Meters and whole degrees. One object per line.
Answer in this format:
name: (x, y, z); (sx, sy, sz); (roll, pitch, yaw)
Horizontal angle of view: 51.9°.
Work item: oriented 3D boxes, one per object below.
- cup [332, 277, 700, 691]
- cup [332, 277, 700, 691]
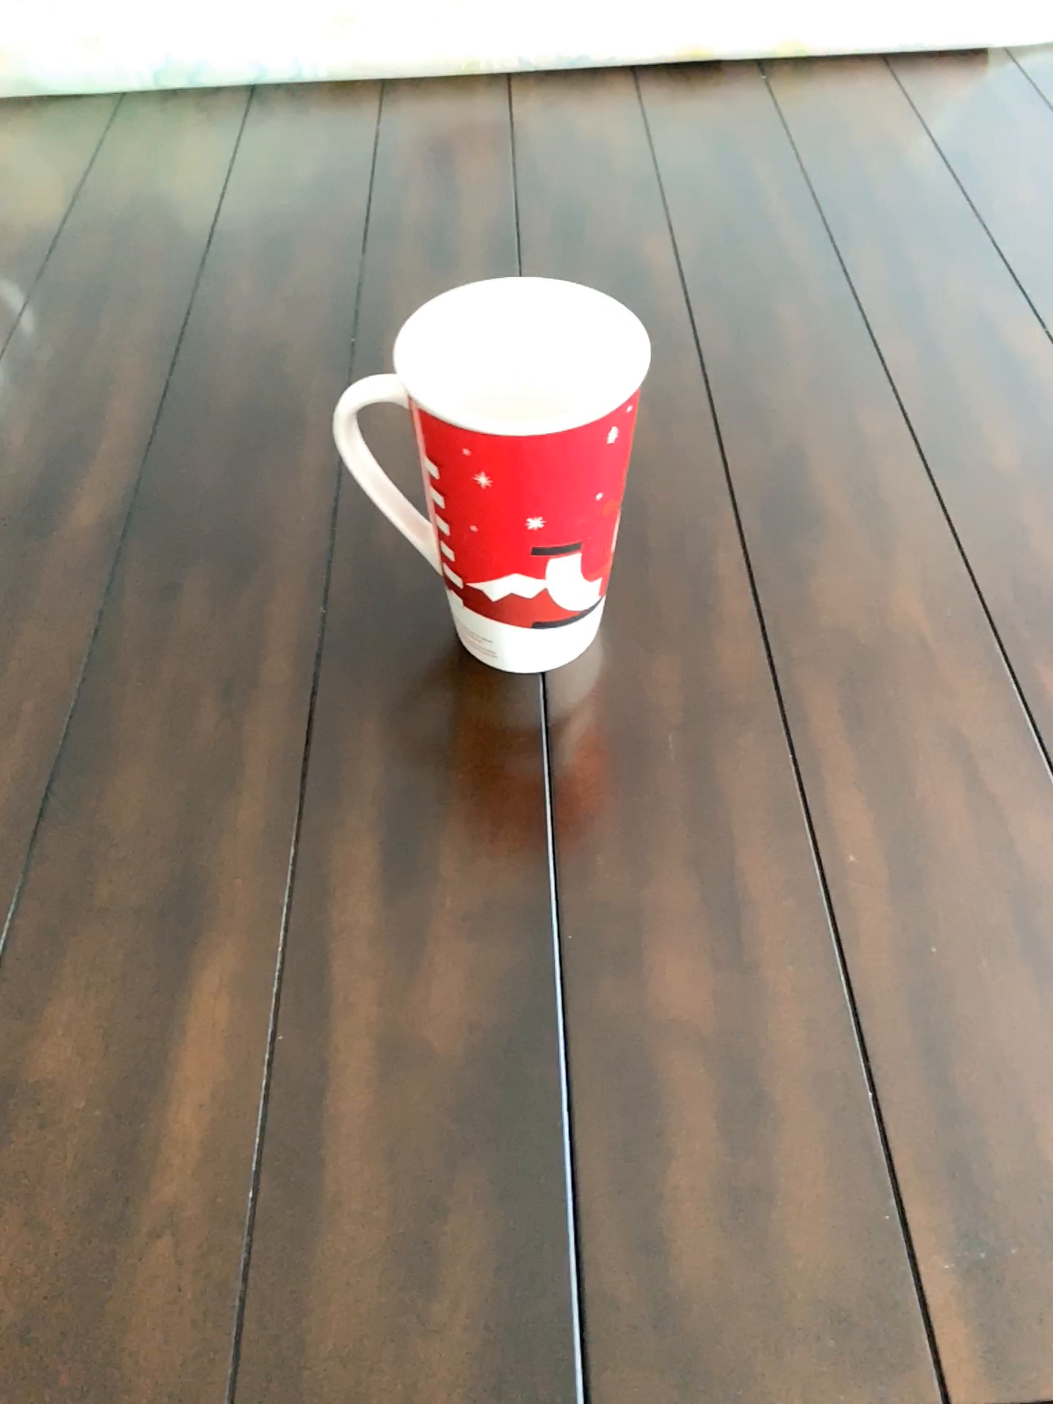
cup: (-0.007, -0.093, 0.466); (0.130, 0.120, 0.120); (0, 51, 0)
cup: (-0.007, -0.093, 0.466); (0.130, 0.120, 0.120); (0, 51, 0)
